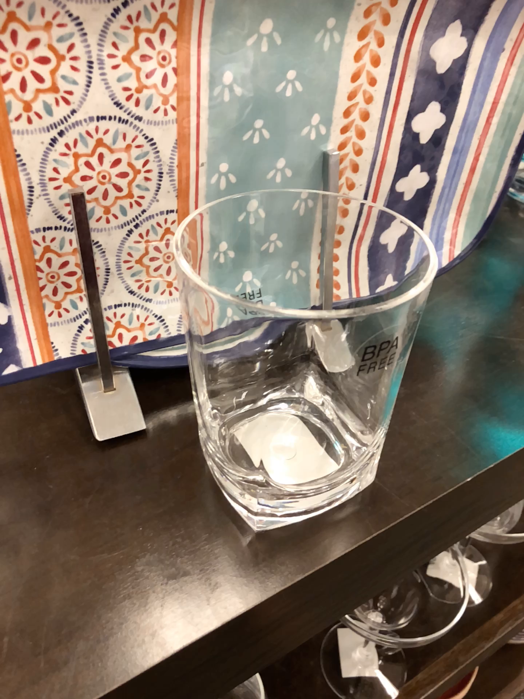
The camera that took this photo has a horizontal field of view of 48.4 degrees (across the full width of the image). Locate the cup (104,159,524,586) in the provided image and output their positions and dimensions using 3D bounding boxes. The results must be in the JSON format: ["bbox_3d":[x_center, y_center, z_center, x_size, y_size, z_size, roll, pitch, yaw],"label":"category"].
[{"bbox_3d":[0.013,0.000,0.247,0.114,0.111,0.108,2,38,-2],"label":"cup"}]
